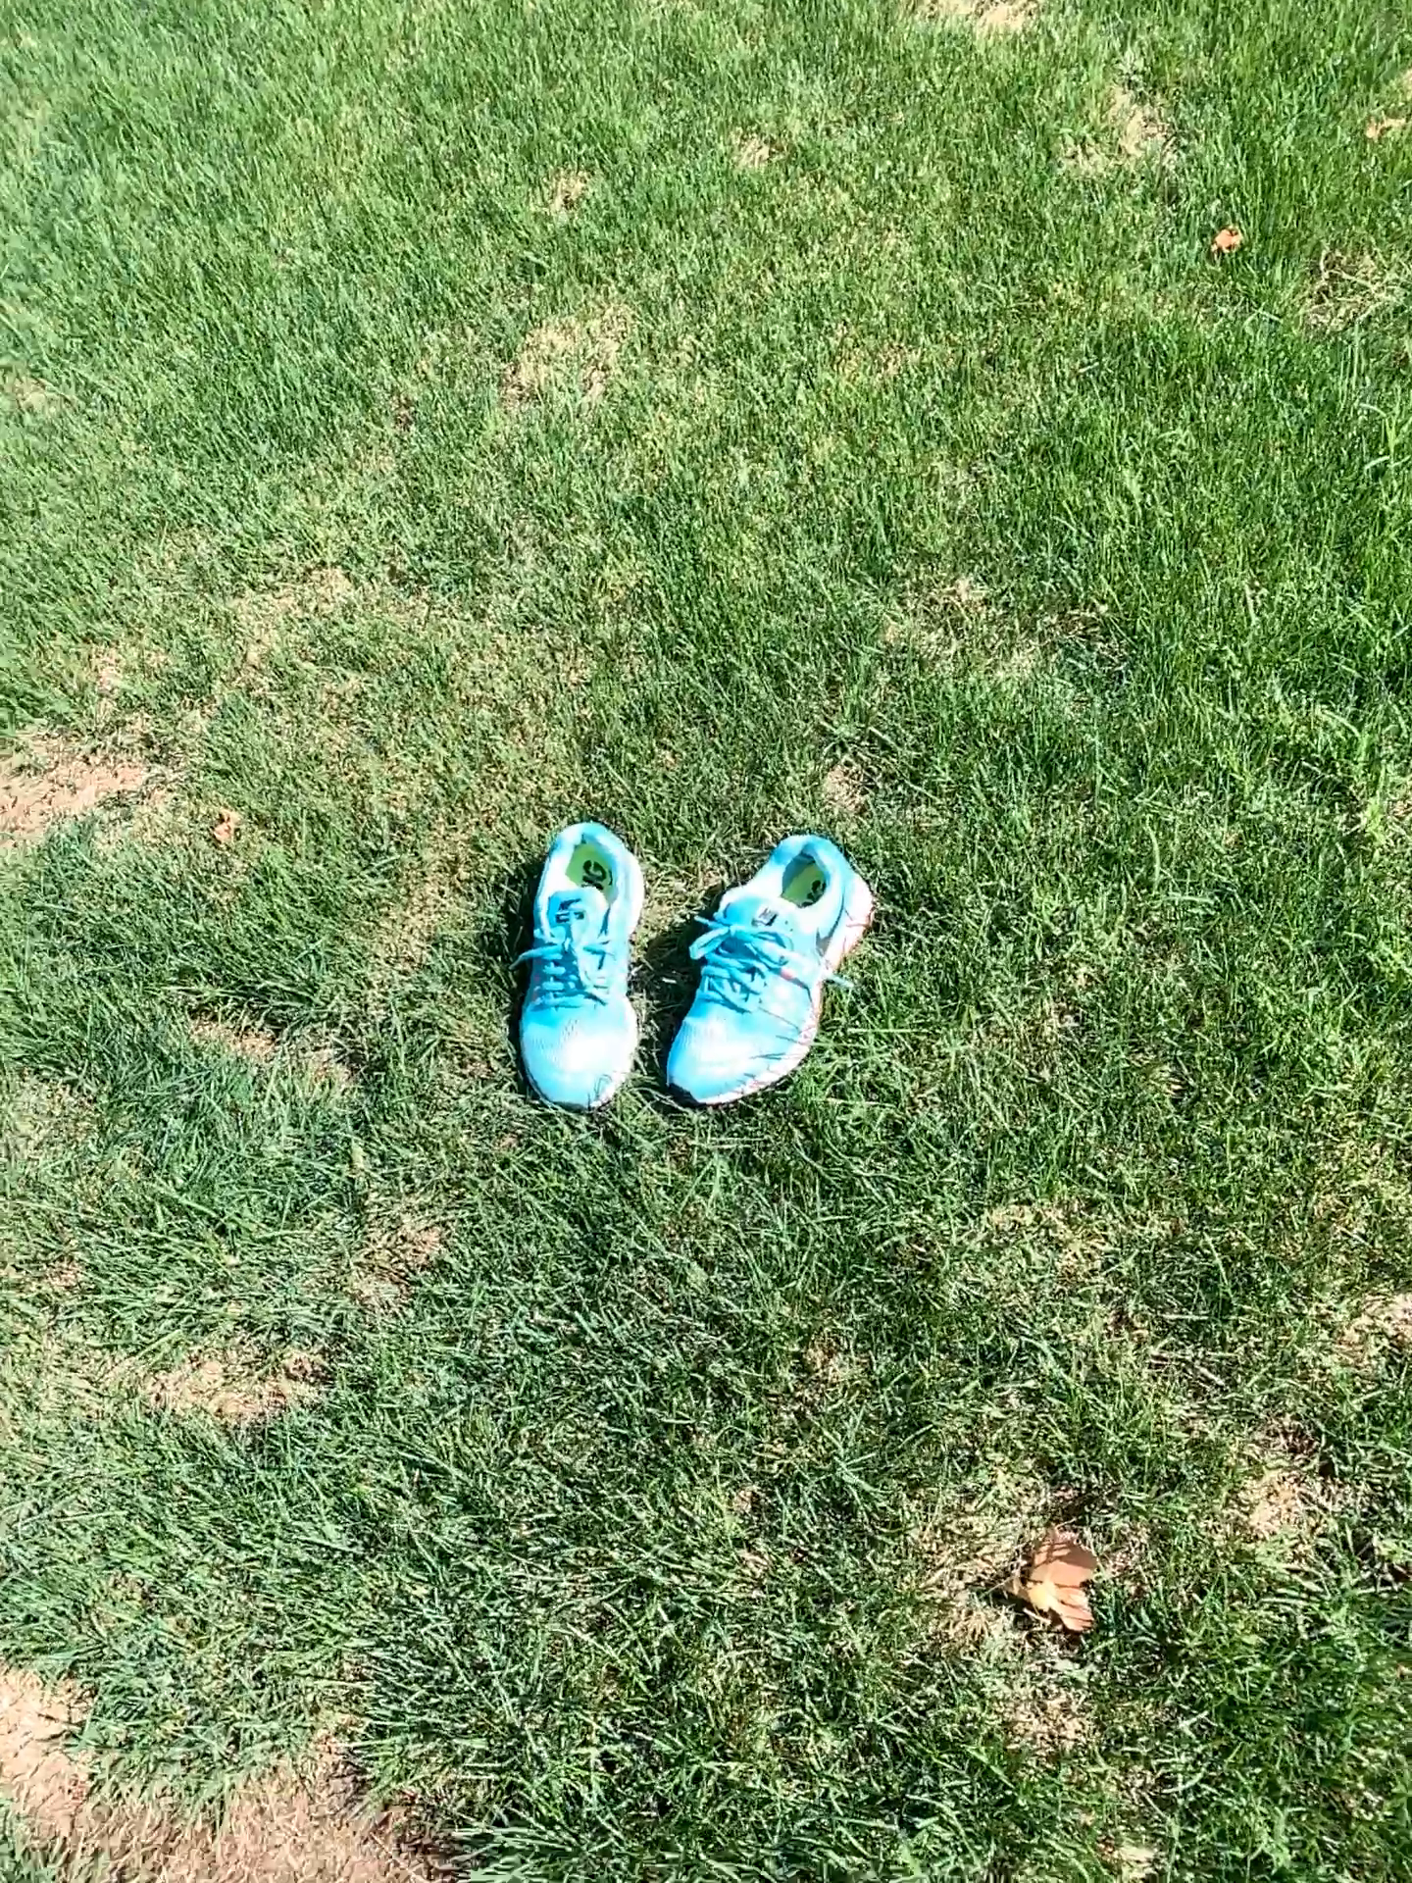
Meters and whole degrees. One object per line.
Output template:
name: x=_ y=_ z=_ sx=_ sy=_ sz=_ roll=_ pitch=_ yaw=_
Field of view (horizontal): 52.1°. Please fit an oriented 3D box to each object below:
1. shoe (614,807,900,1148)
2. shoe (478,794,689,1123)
shoe: x=0.047 y=0.024 z=1.161 sx=0.120 sy=0.070 sz=0.250 roll=21 pitch=64 yaw=22
shoe: x=-0.096 y=0.010 z=1.209 sx=0.120 sy=0.090 sz=0.260 roll=3 pitch=59 yaw=10
